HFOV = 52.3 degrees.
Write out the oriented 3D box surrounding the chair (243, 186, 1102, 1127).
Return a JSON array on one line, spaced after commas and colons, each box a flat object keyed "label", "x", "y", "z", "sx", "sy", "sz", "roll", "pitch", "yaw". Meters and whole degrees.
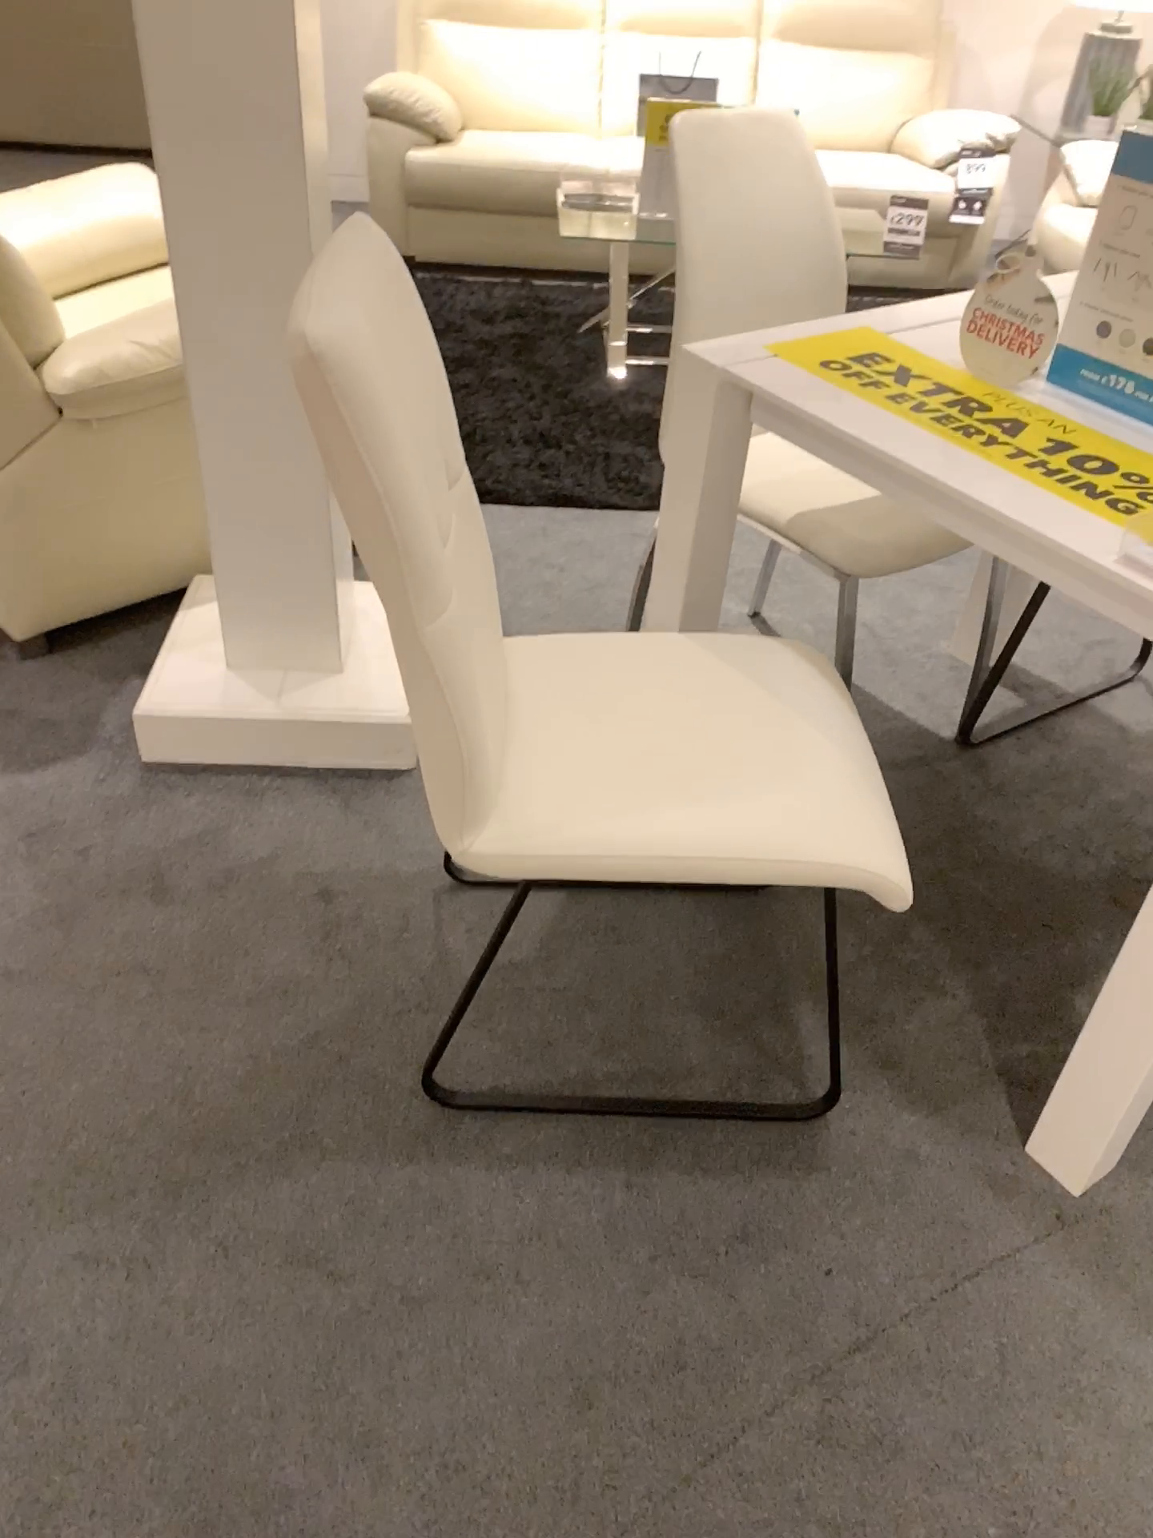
[{"label": "chair", "x": 0.034, "y": -0.096, "z": 1.341, "sx": 0.630, "sy": 0.891, "sz": 0.545, "roll": 1, "pitch": 38, "yaw": -5}]
